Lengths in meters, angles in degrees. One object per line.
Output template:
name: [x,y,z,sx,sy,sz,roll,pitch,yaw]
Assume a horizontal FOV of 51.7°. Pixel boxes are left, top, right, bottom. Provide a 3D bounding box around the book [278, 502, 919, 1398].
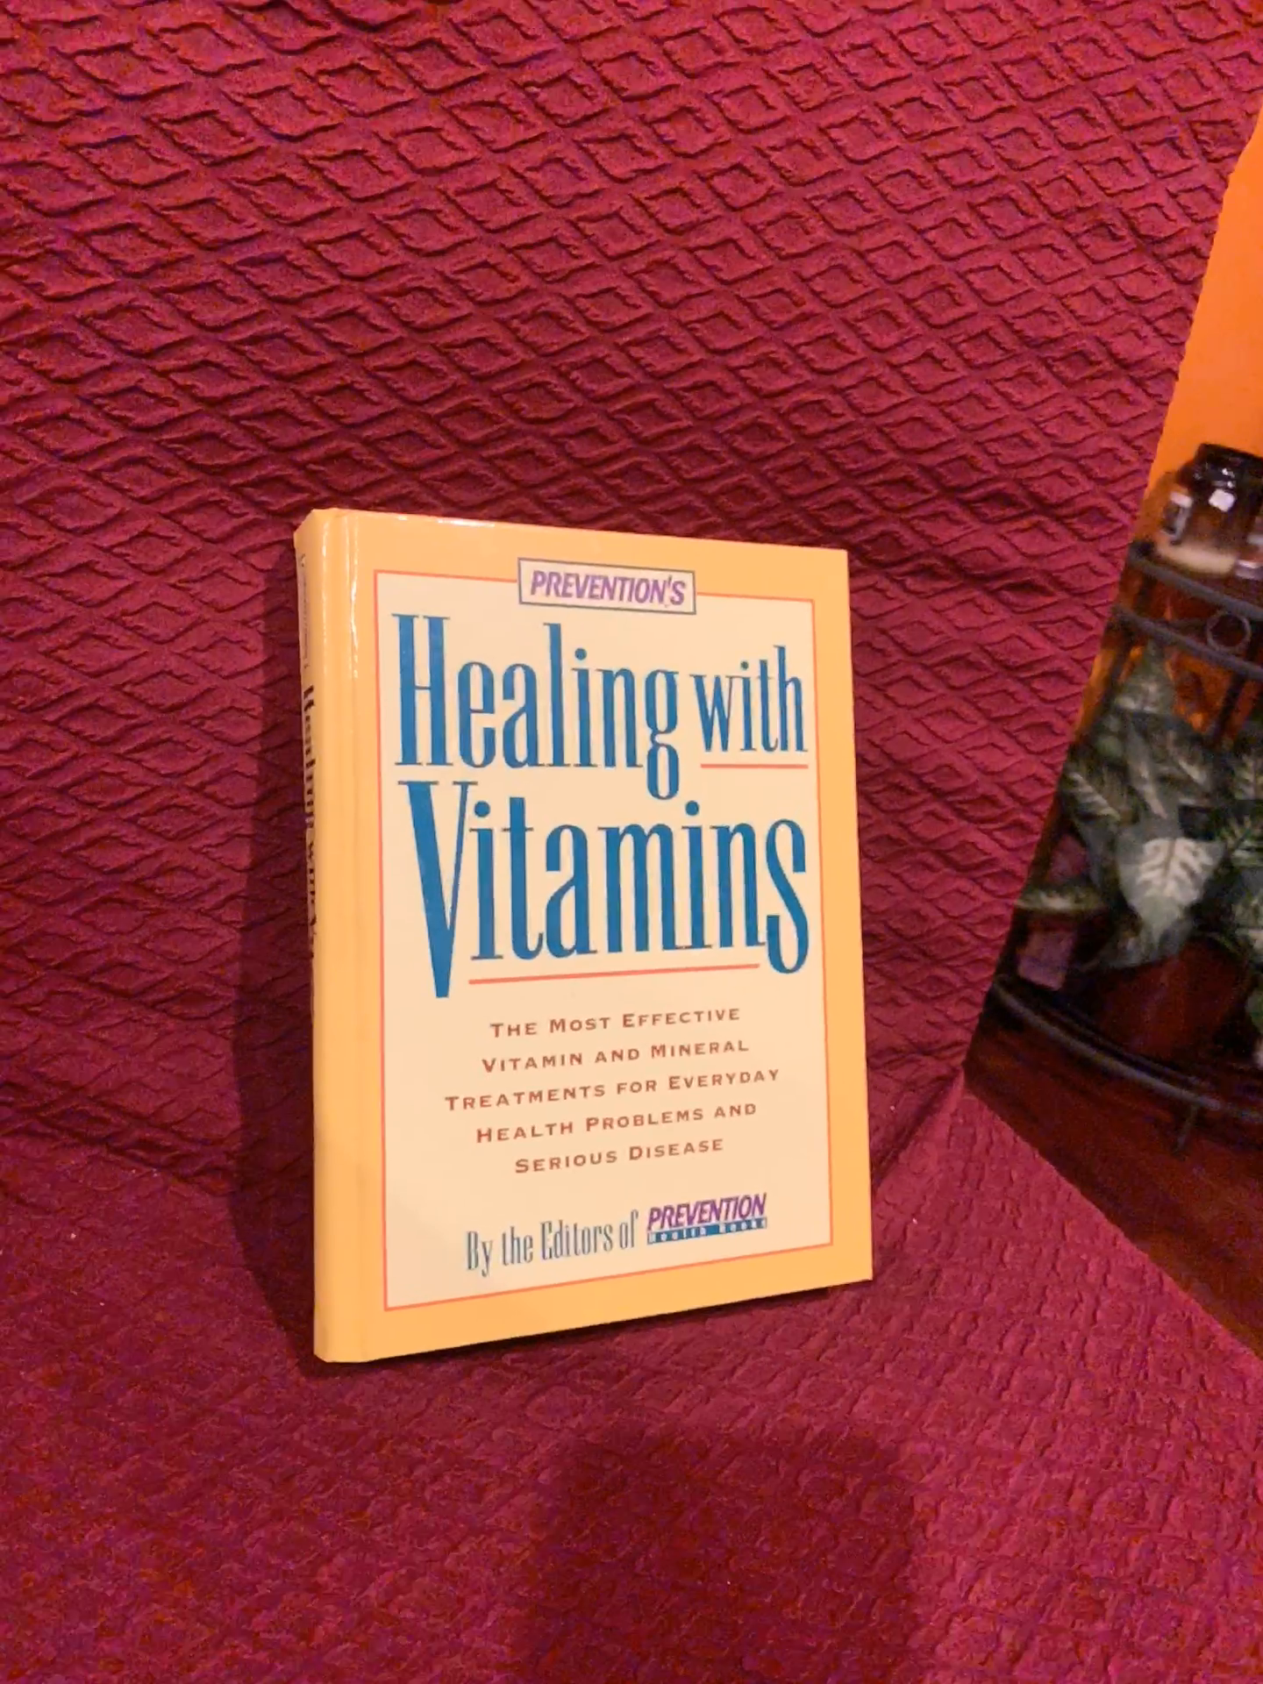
book: [-0.007,0.026,0.404,0.190,0.240,0.040,-1,-1,-22]
